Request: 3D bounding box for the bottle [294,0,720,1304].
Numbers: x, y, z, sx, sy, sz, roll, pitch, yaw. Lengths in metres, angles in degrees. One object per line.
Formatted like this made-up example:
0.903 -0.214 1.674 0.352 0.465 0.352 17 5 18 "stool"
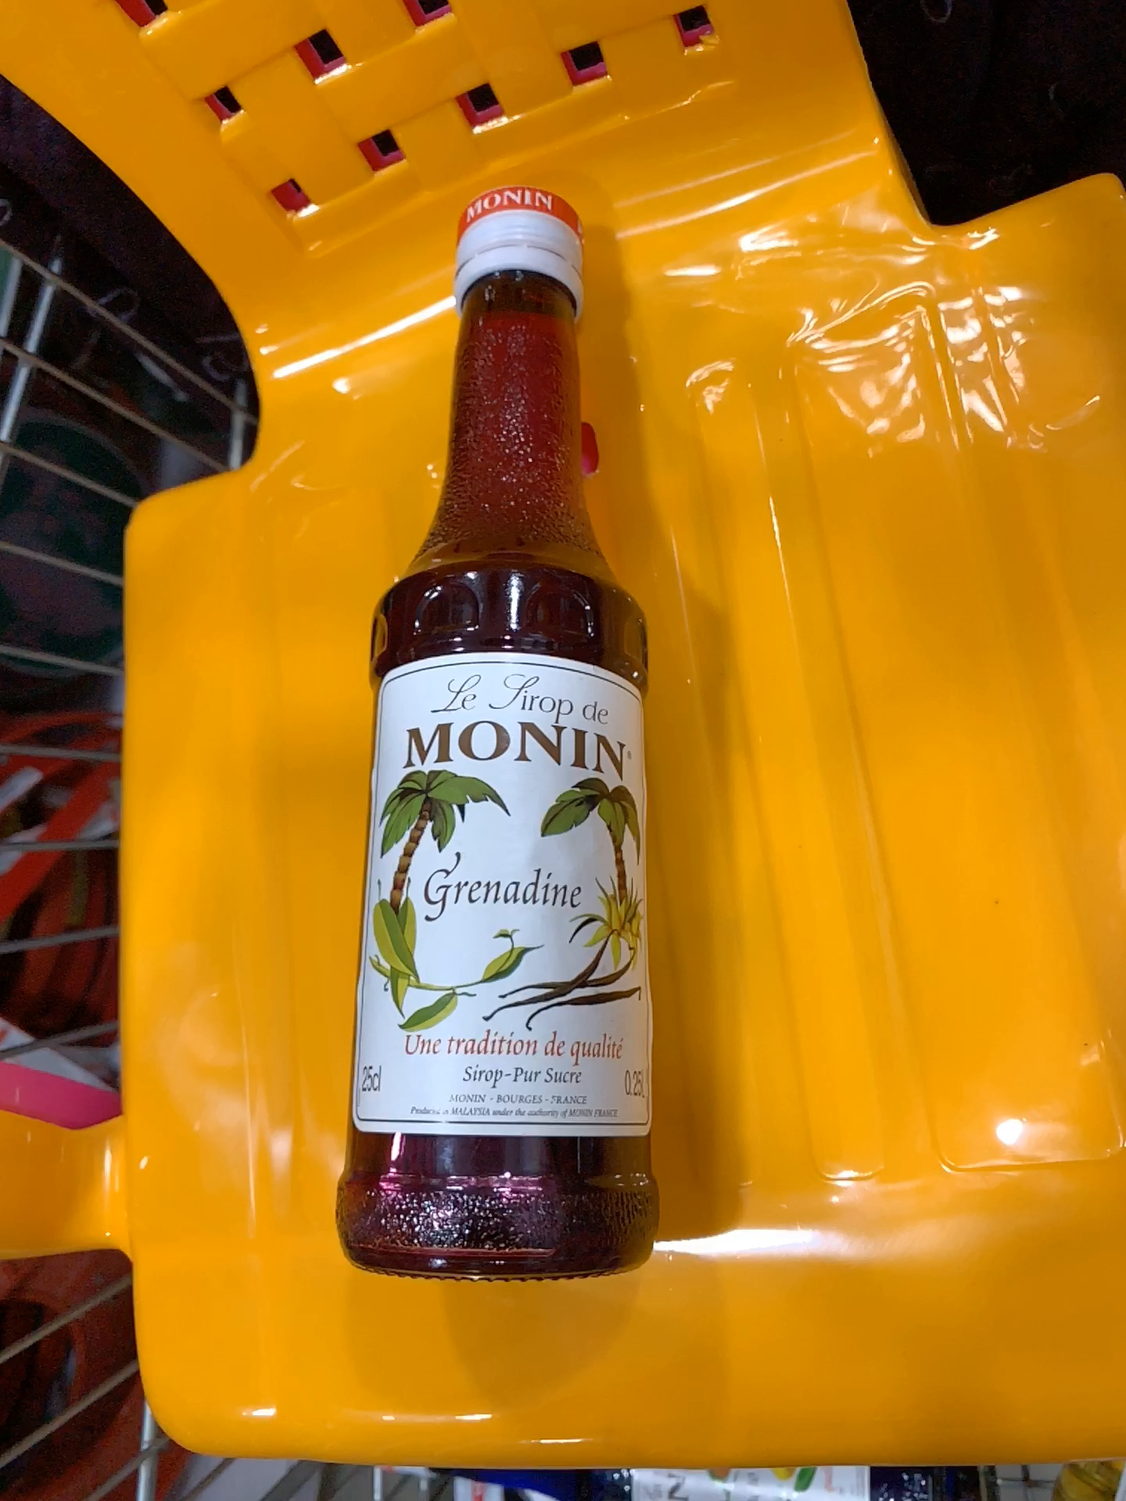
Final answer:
-0.011 -0.030 0.224 0.060 0.050 0.240 5 71 -11 "bottle"
